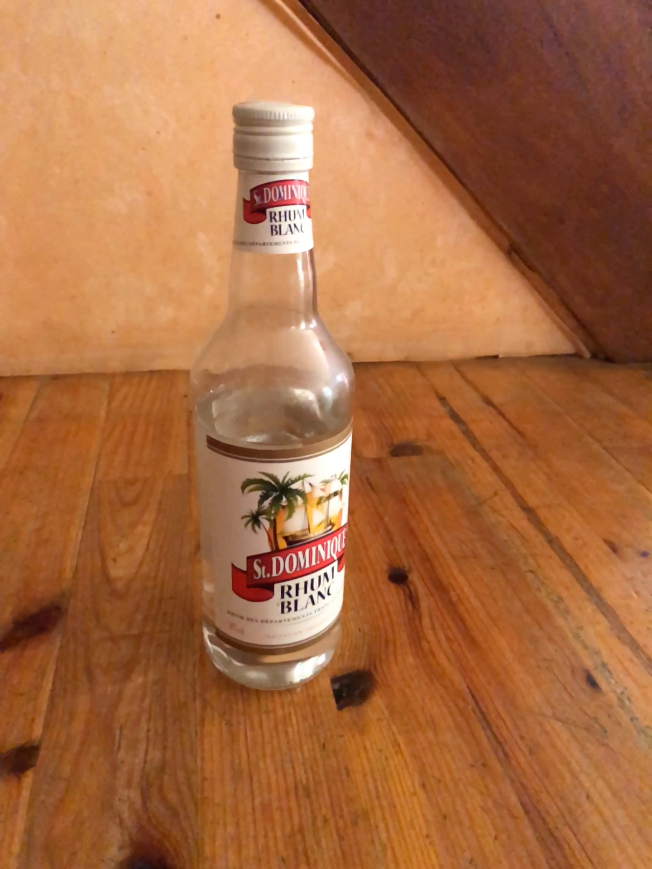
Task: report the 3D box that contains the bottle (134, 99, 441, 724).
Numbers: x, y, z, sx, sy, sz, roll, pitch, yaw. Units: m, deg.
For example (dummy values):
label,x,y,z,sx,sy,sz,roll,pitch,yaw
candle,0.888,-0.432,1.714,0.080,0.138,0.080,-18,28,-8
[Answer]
label,x,y,z,sx,sy,sz,roll,pitch,yaw
bottle,-0.021,-0.006,0.323,0.090,0.259,0.080,-10,30,-22
